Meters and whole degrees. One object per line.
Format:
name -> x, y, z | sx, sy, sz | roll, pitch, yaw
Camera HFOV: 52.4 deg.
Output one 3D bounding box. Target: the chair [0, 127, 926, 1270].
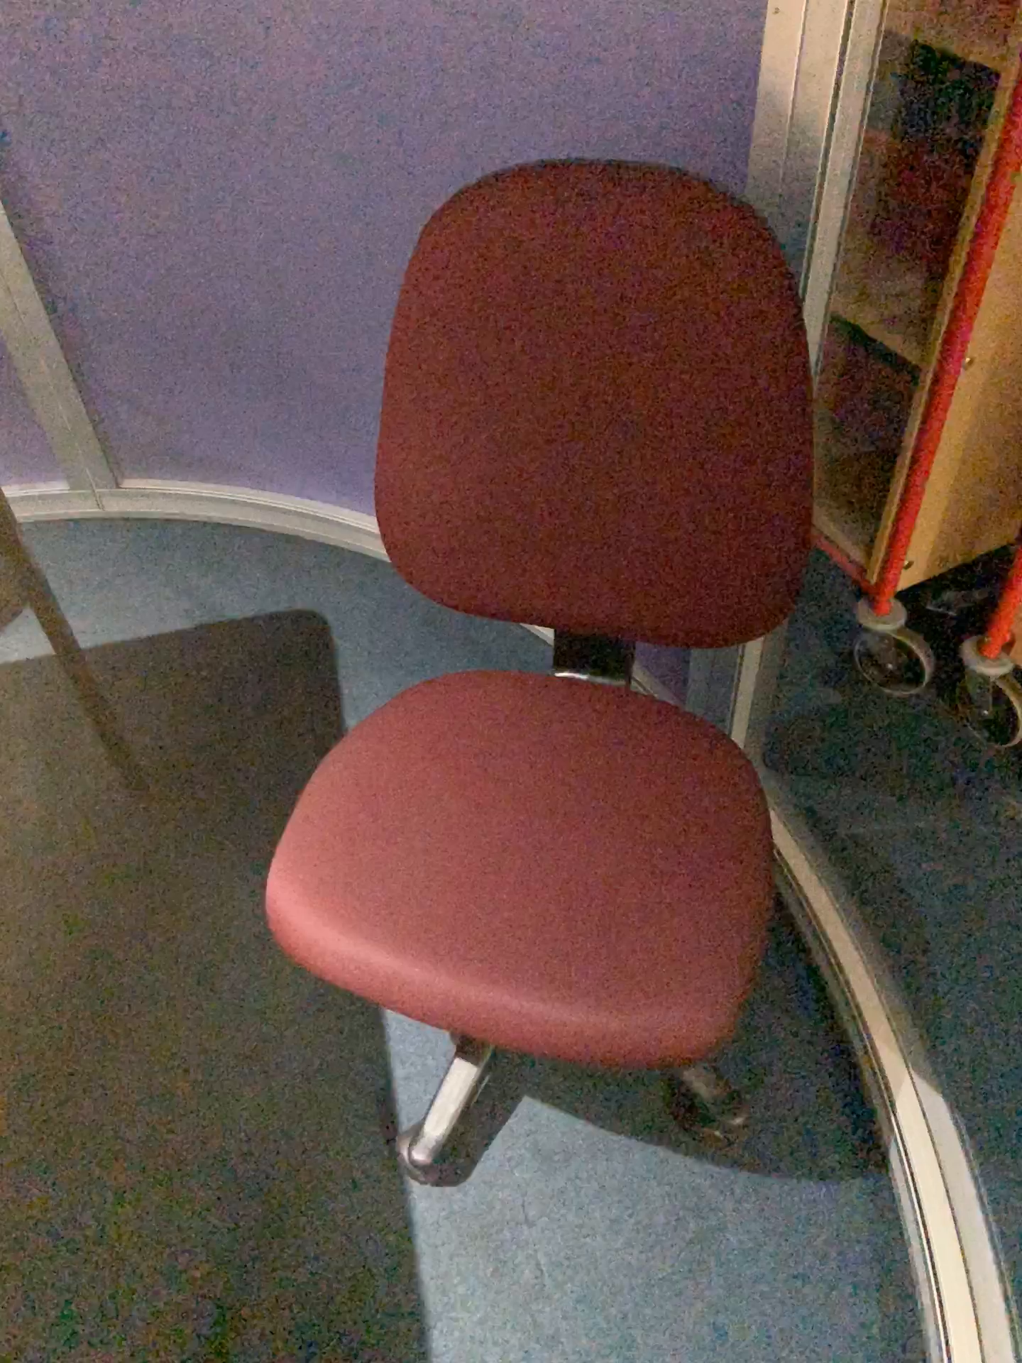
chair -> 0.048, -0.015, 1.118 | 0.580, 0.773, 0.857 | 9, 48, 12
